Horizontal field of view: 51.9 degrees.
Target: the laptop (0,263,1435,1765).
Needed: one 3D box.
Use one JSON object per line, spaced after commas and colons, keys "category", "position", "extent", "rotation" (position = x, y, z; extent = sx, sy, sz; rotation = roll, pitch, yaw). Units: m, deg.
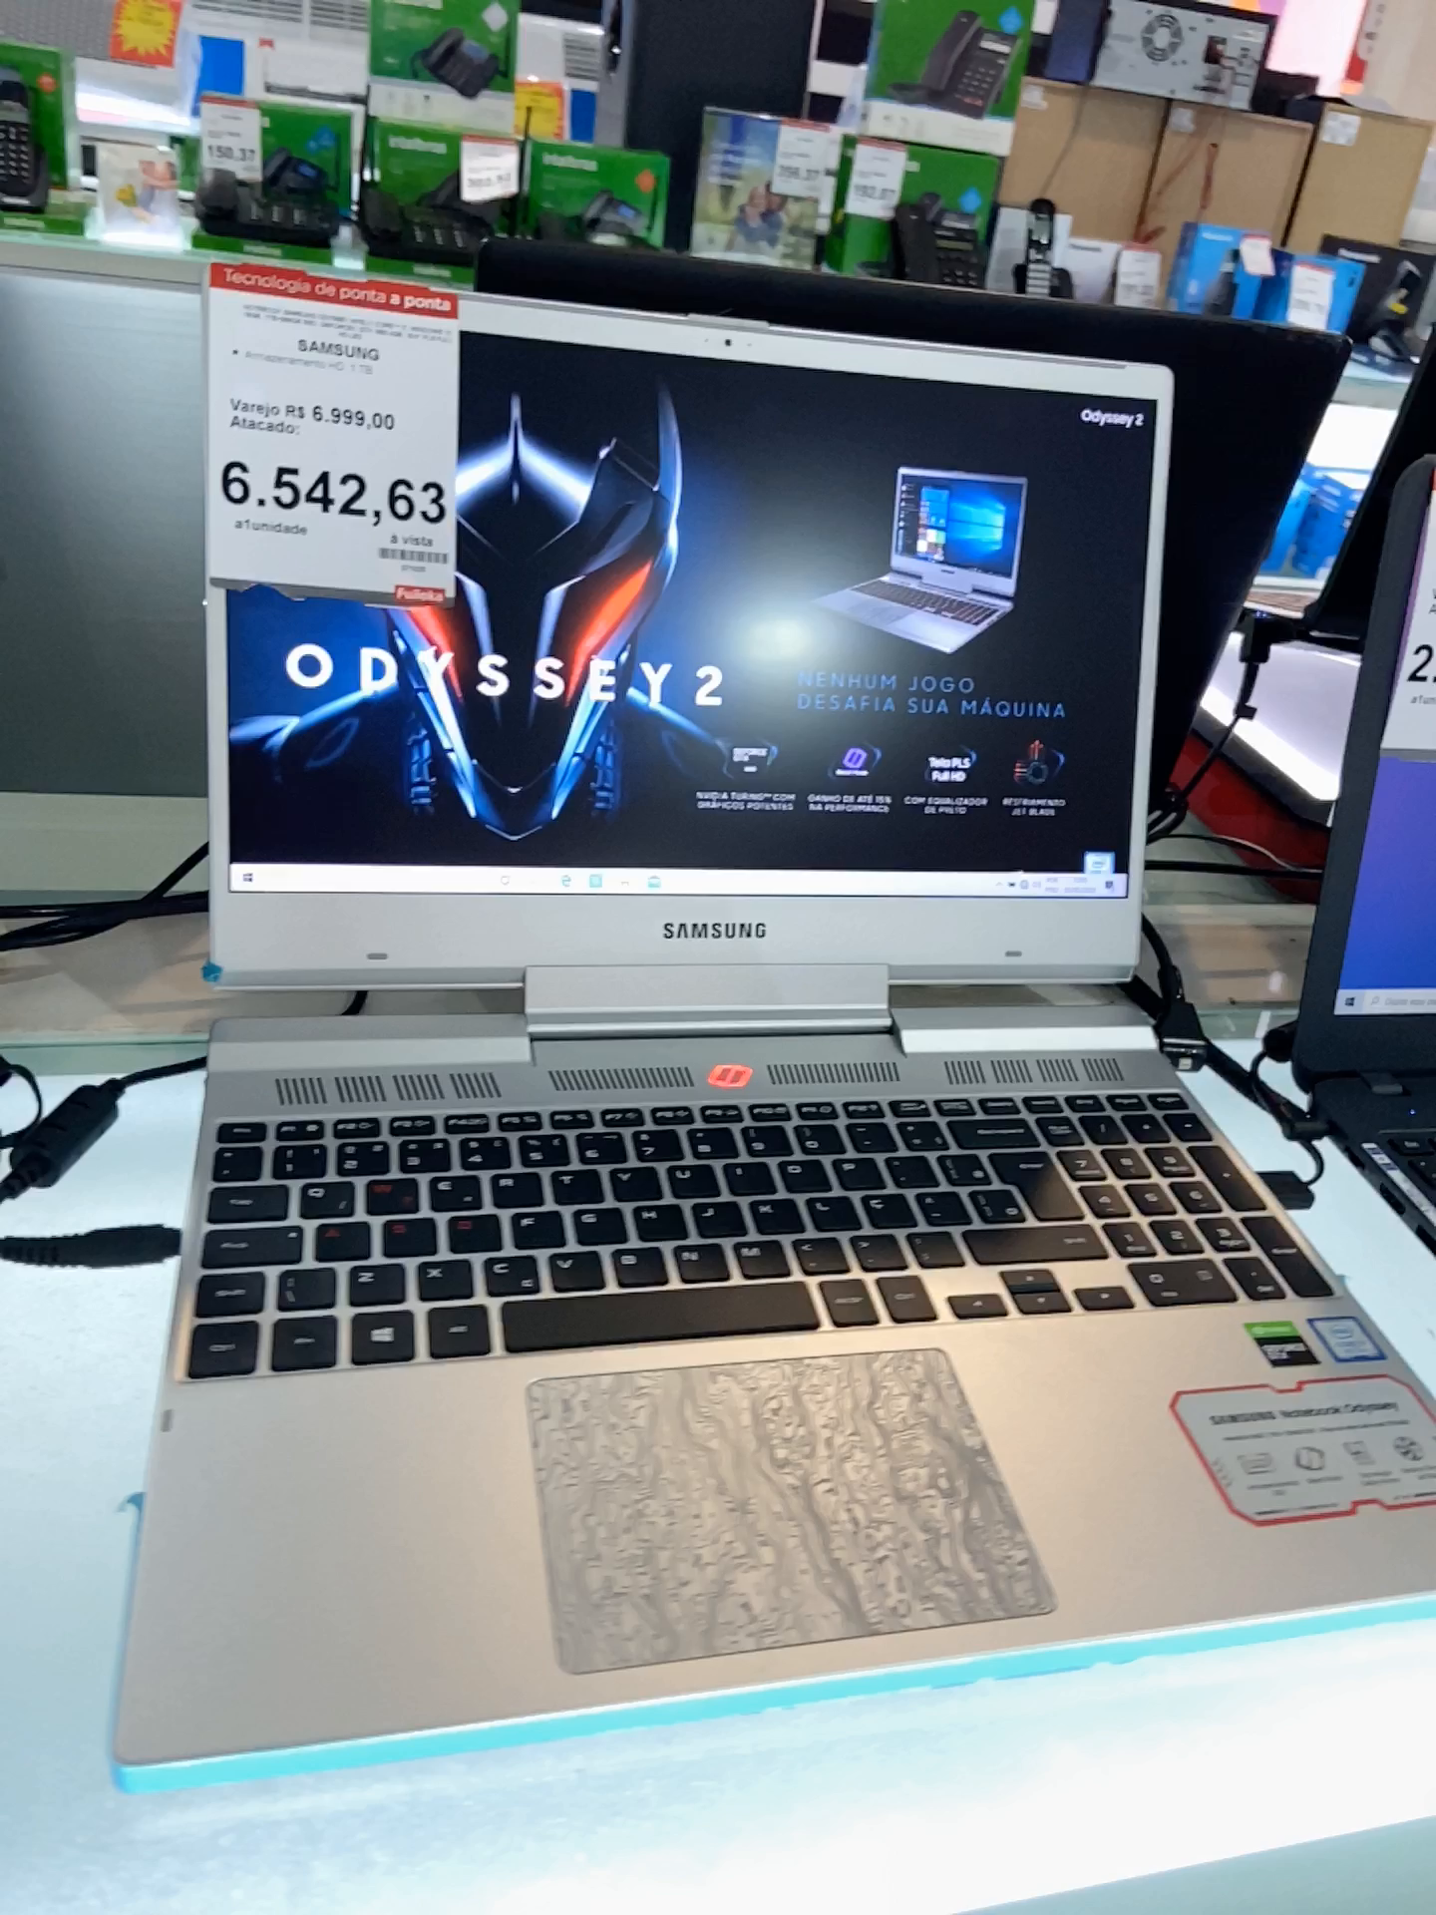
{"category": "laptop", "position": [0.028, -0.034, 0.432], "extent": [0.353, 0.225, 0.370], "rotation": [0, 32, -14]}
